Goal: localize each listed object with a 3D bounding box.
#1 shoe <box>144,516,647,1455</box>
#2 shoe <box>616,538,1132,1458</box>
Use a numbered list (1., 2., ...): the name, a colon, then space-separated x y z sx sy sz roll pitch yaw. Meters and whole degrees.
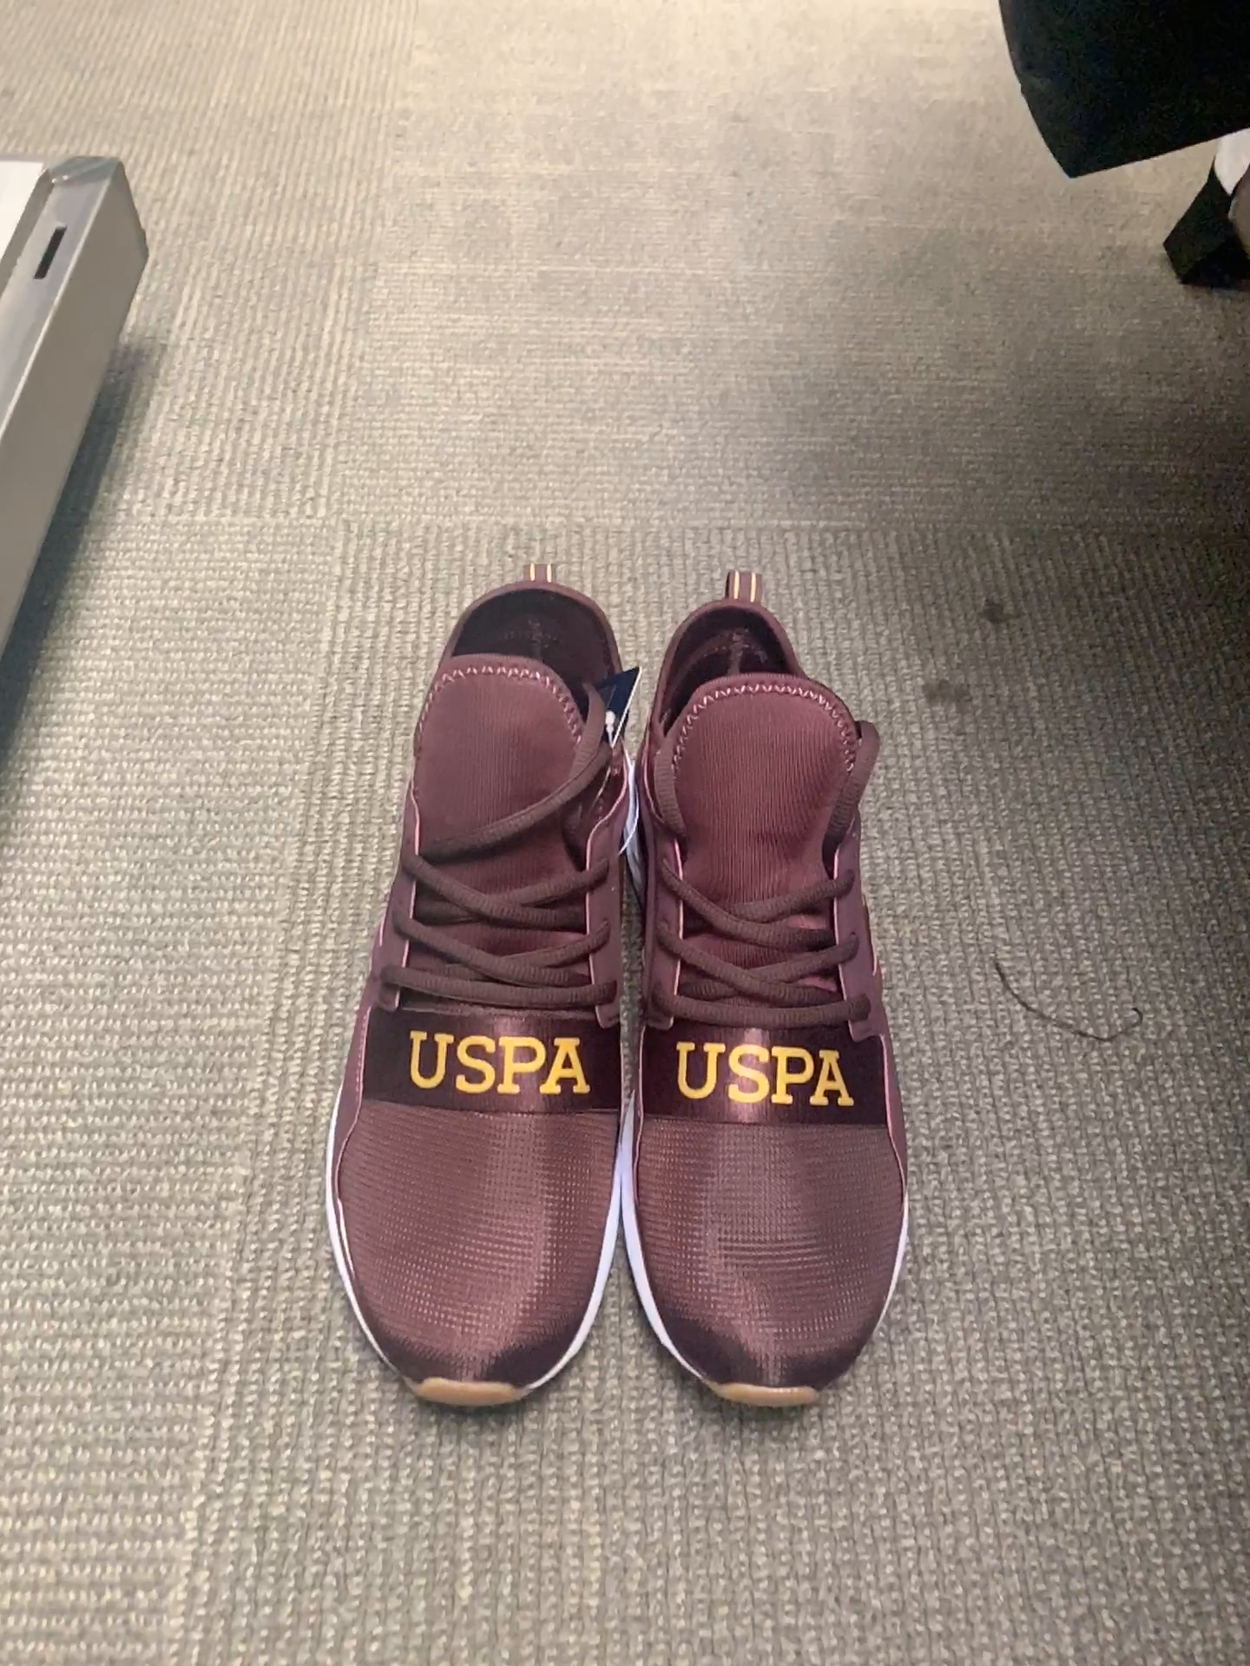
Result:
1. shoe: -0.050 0.046 0.397 0.103 0.156 0.243 2 55 -2
2. shoe: 0.053 0.049 0.399 0.103 0.149 0.241 2 55 -2
